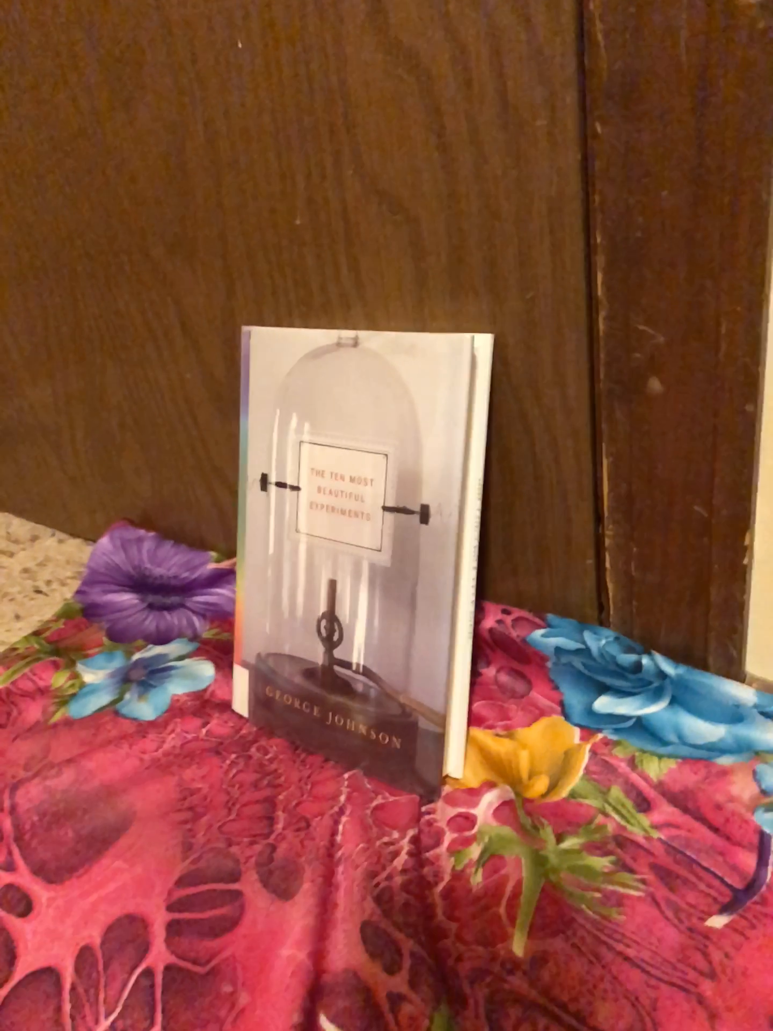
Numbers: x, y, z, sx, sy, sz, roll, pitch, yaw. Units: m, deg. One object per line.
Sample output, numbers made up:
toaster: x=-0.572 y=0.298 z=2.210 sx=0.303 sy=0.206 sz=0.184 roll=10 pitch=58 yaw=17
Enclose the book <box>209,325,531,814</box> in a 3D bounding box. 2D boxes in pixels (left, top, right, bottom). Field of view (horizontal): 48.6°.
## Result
book: x=-0.015 y=0.015 z=0.385 sx=0.140 sy=0.190 sz=0.033 roll=11 pitch=12 yaw=35
